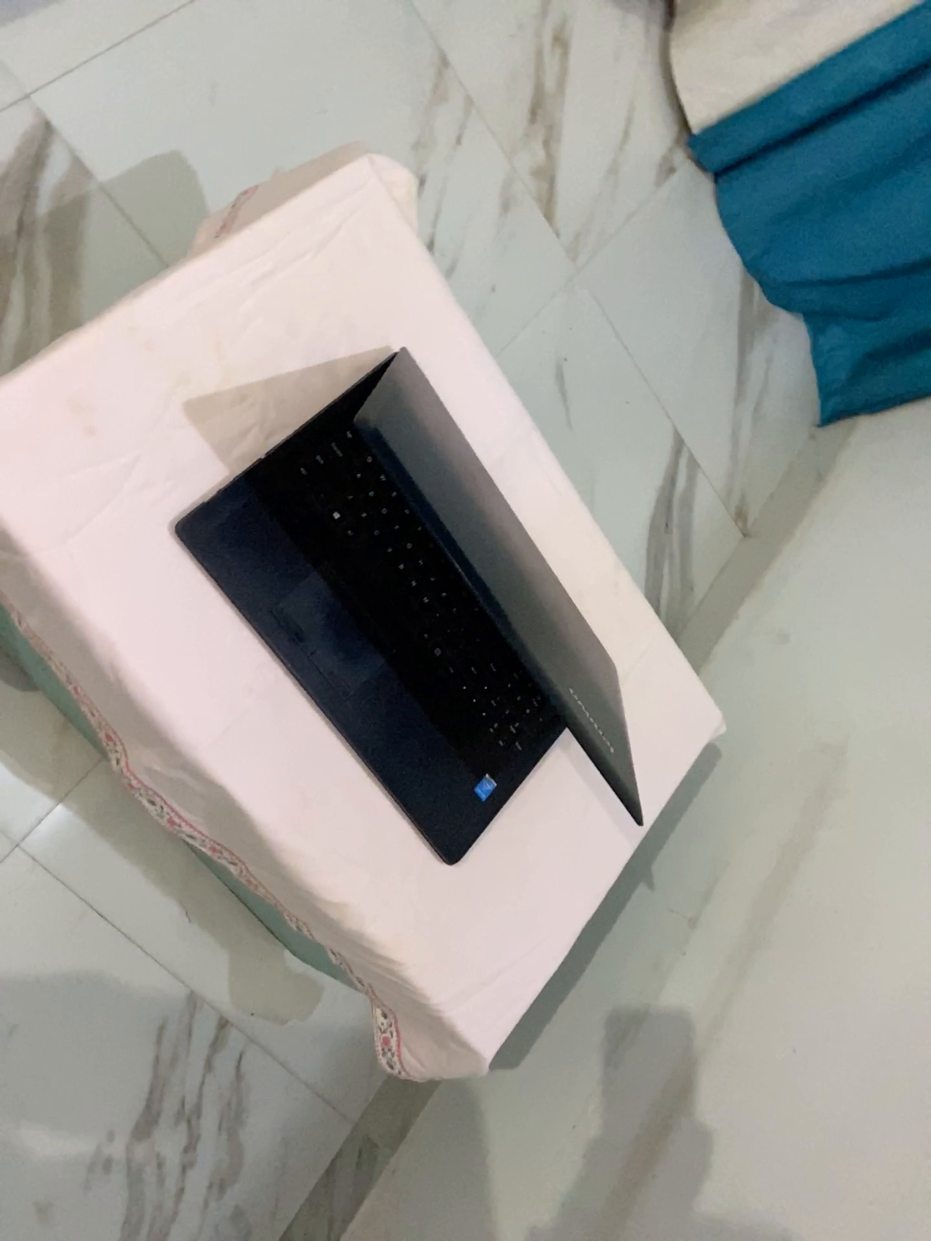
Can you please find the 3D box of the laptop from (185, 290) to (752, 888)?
[{"bbox_3d":[0.018,-0.017,0.776,0.259,0.176,0.369,-47,113,-27],"label":"laptop"}]
